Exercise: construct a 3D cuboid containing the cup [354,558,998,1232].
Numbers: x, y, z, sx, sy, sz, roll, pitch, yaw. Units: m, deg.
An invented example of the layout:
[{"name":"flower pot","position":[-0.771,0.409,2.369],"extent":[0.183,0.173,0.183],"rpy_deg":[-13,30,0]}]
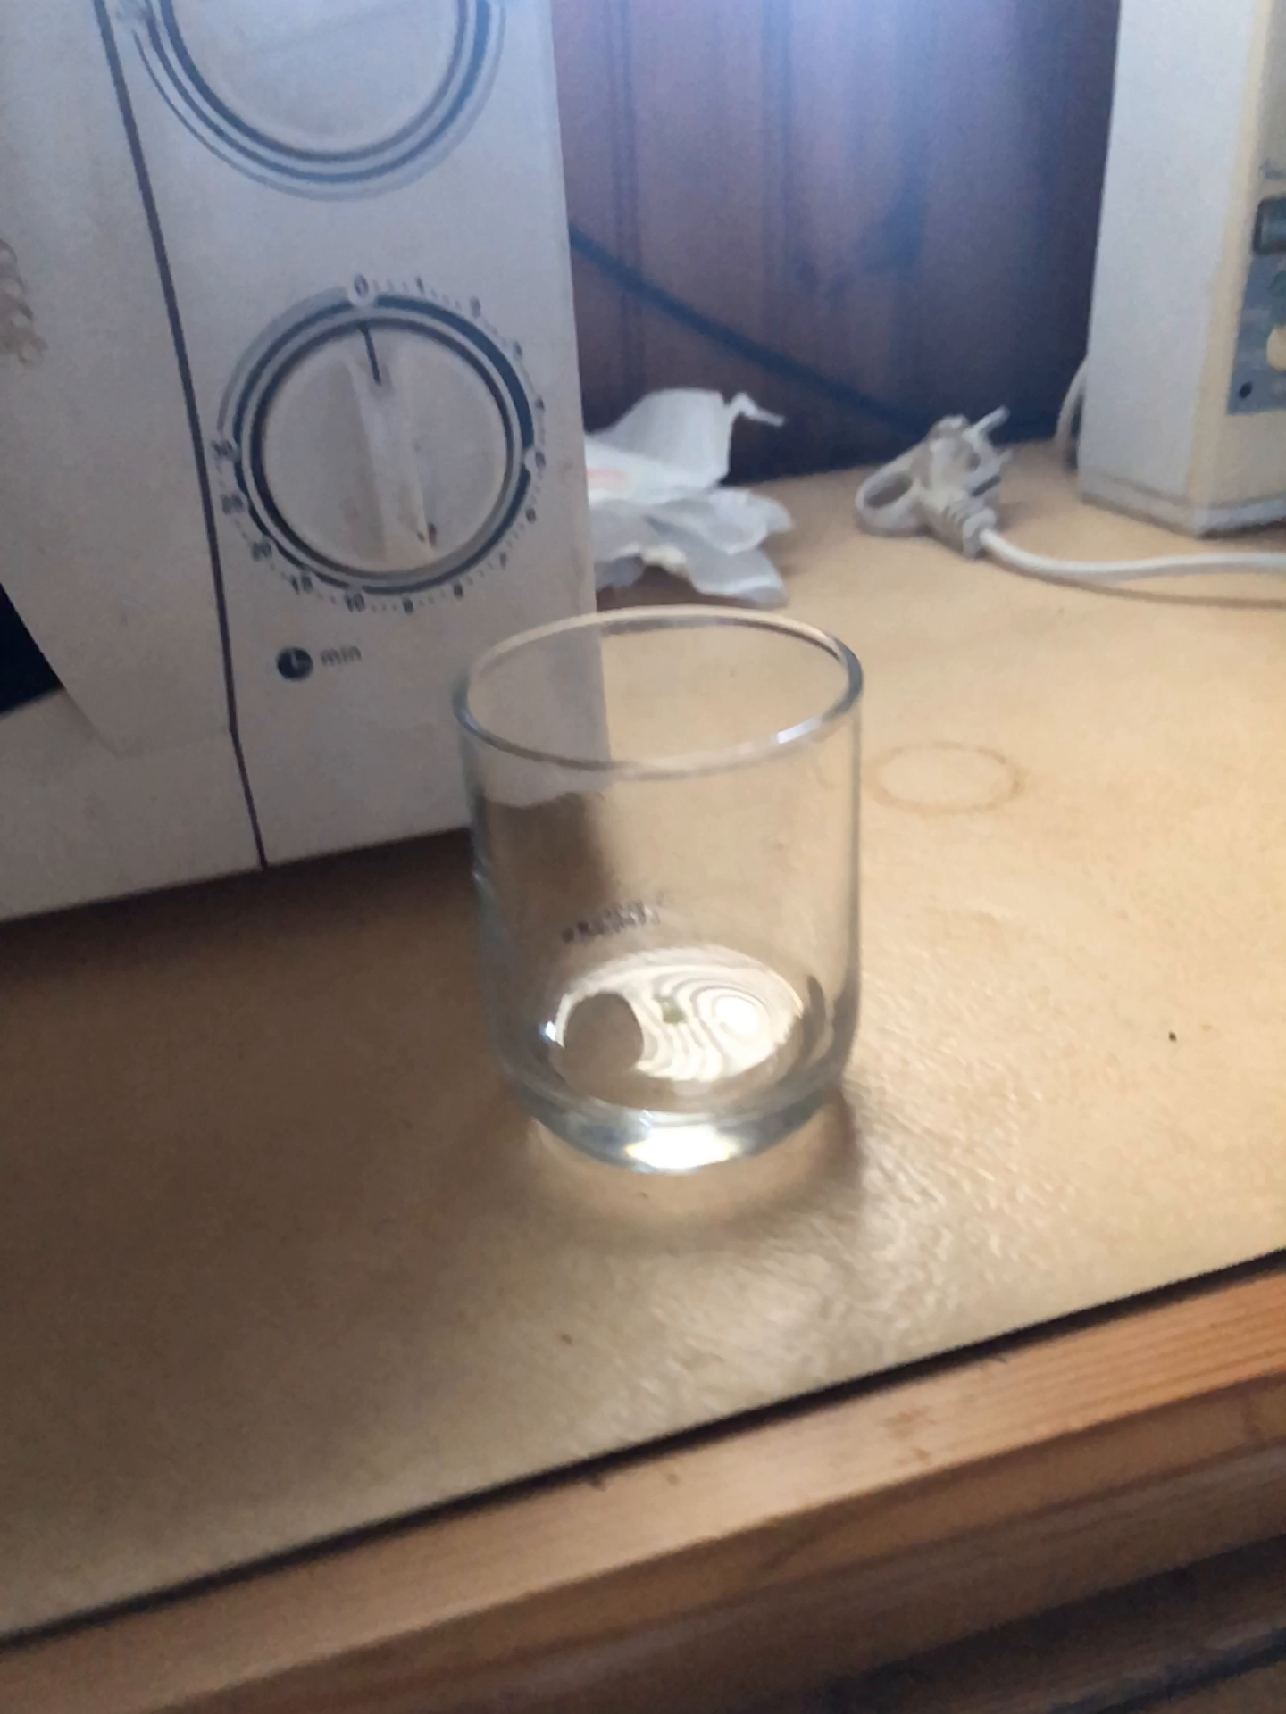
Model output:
[{"name":"cup","position":[0.007,0.000,0.237],"extent":[0.070,0.070,0.070],"rpy_deg":[-3,30,2]}]
